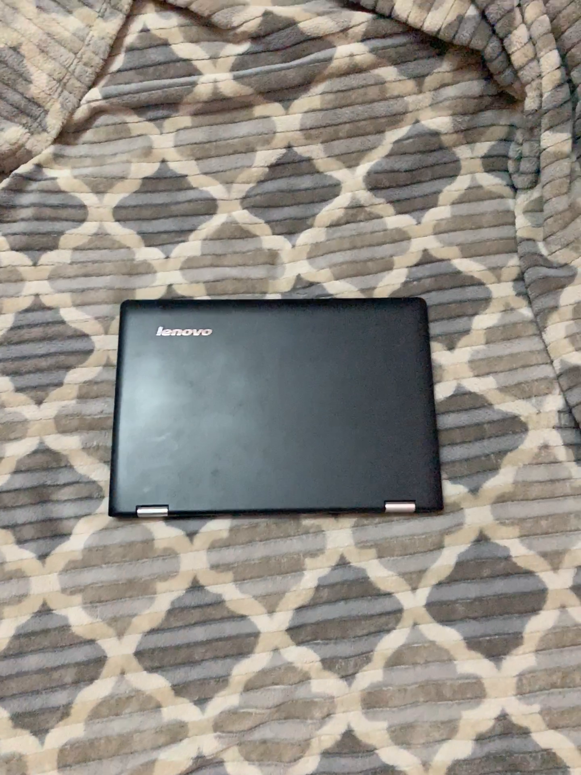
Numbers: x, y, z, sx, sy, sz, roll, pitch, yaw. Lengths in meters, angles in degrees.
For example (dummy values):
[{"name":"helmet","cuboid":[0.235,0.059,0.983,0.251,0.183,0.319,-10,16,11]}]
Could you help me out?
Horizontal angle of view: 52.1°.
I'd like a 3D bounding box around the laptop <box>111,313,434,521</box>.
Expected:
[{"name":"laptop","cuboid":[-0.019,0.027,0.654,0.338,0.003,0.228,-1,76,-2]}]
